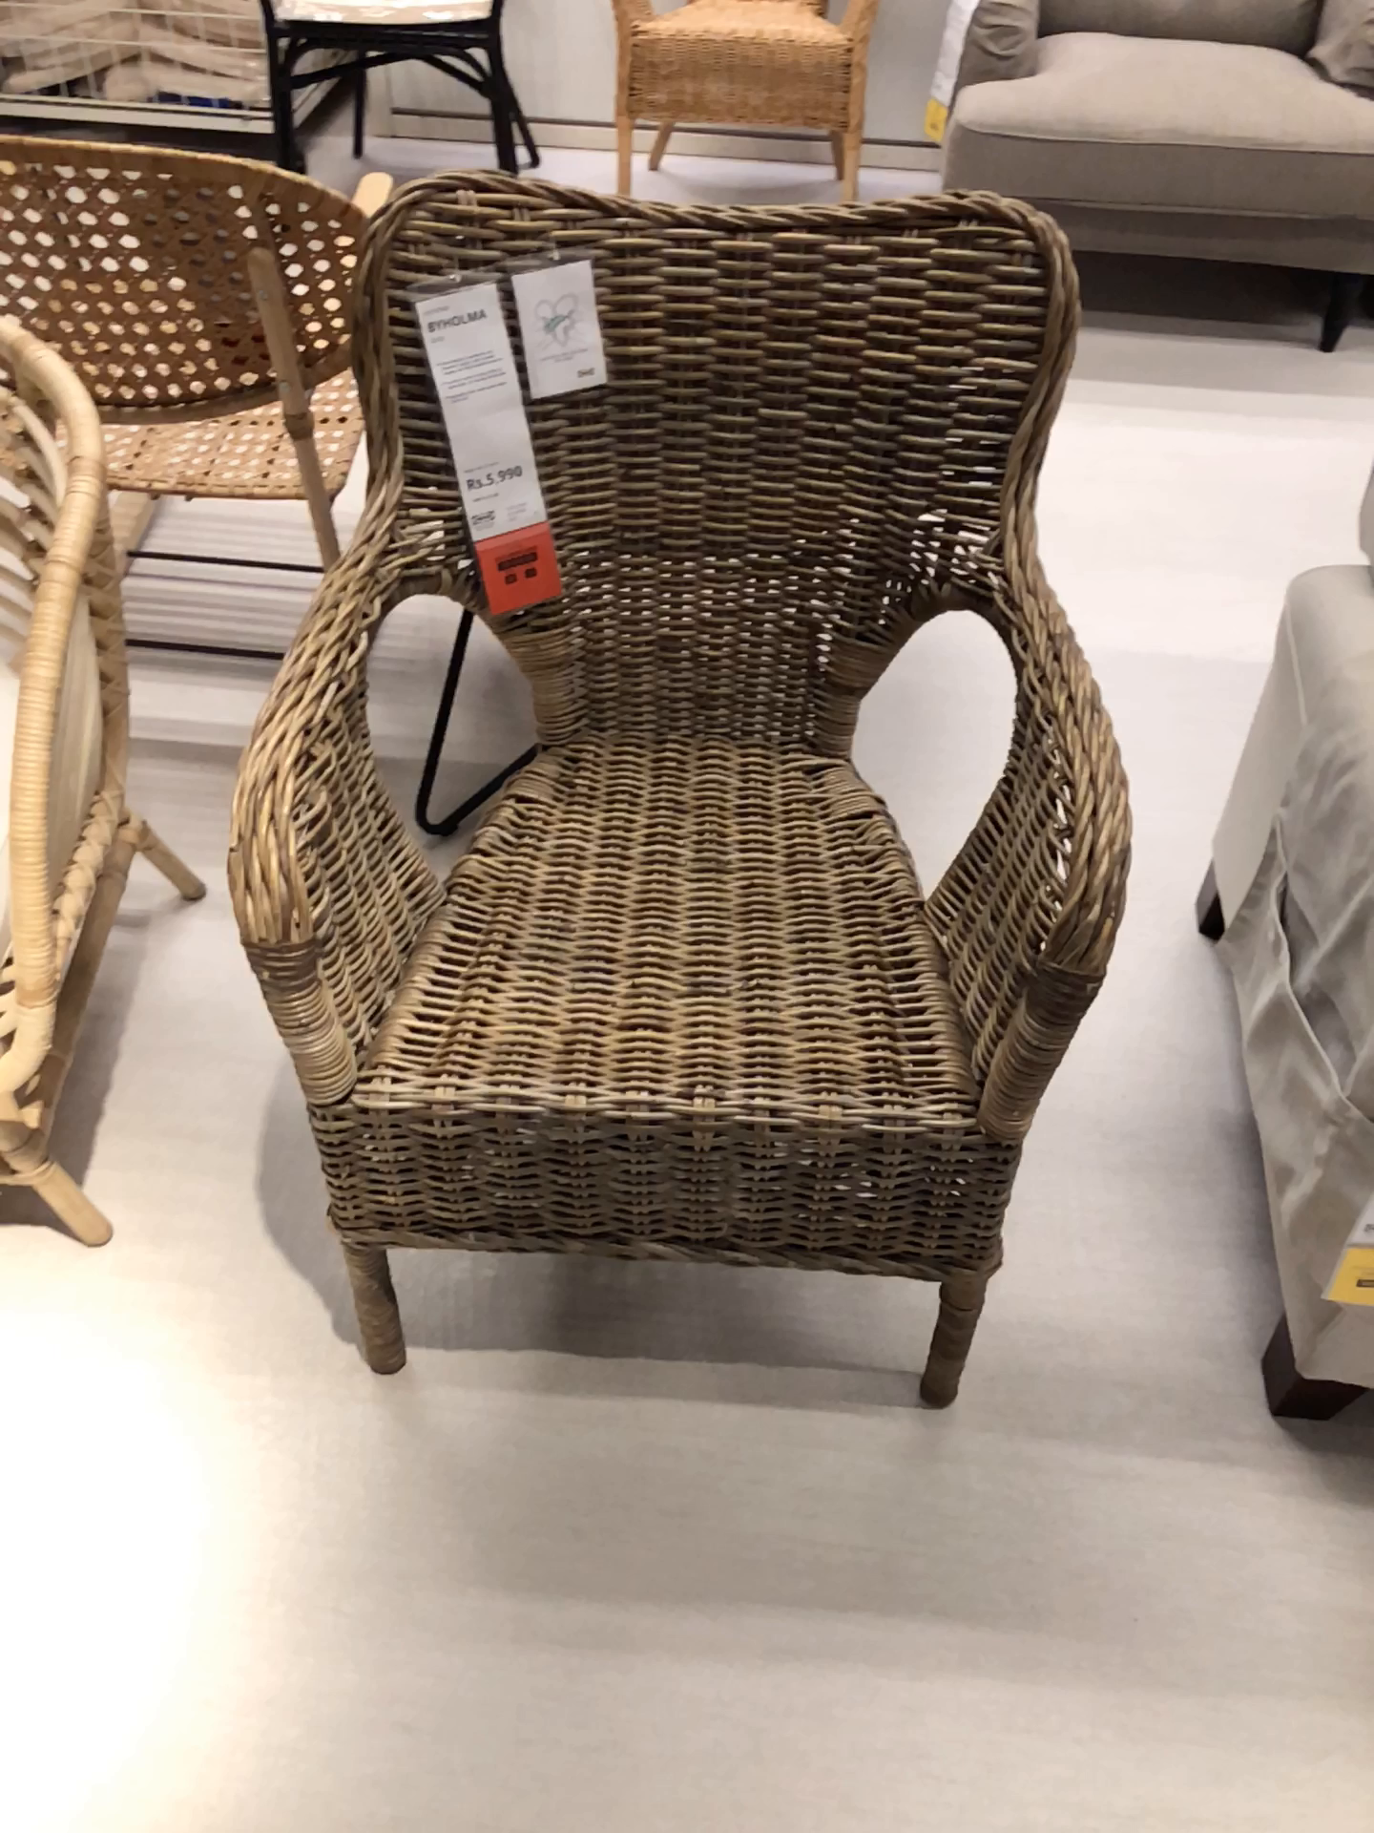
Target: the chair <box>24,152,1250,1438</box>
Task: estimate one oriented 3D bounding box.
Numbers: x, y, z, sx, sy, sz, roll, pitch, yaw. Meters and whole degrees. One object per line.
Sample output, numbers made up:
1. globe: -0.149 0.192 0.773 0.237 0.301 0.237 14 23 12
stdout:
1. chair: -0.018 -0.078 1.389 0.670 0.924 0.684 3 46 2
